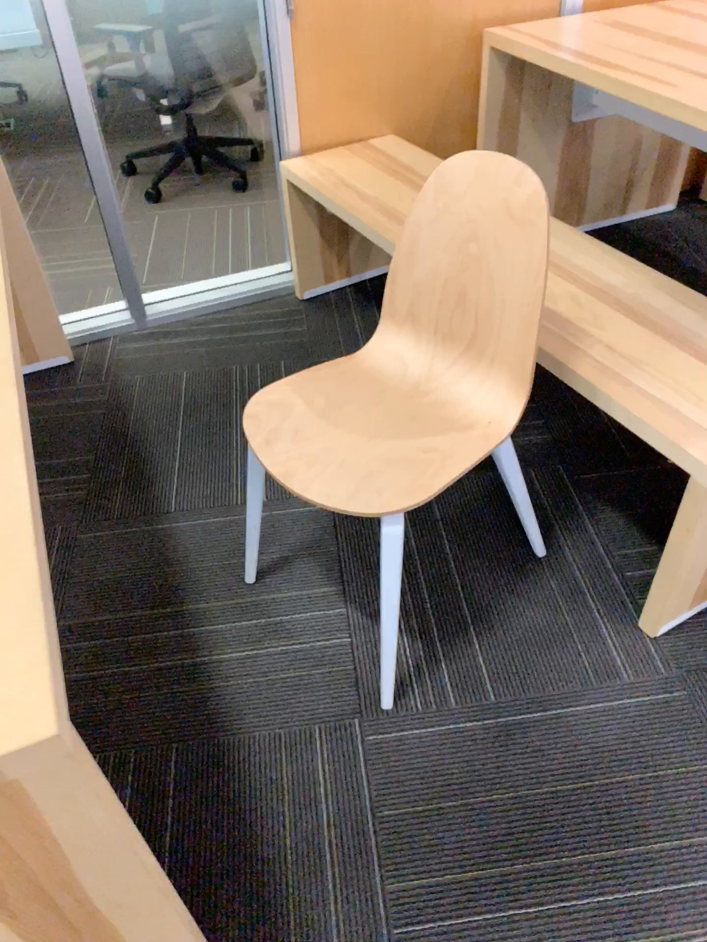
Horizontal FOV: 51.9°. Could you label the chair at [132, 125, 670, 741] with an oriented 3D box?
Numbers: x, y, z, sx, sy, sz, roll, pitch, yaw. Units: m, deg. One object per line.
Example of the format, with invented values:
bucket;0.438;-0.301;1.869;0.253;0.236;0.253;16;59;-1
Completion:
chair;0.088;-0.079;1.370;0.601;0.835;0.542;-33;50;-28
